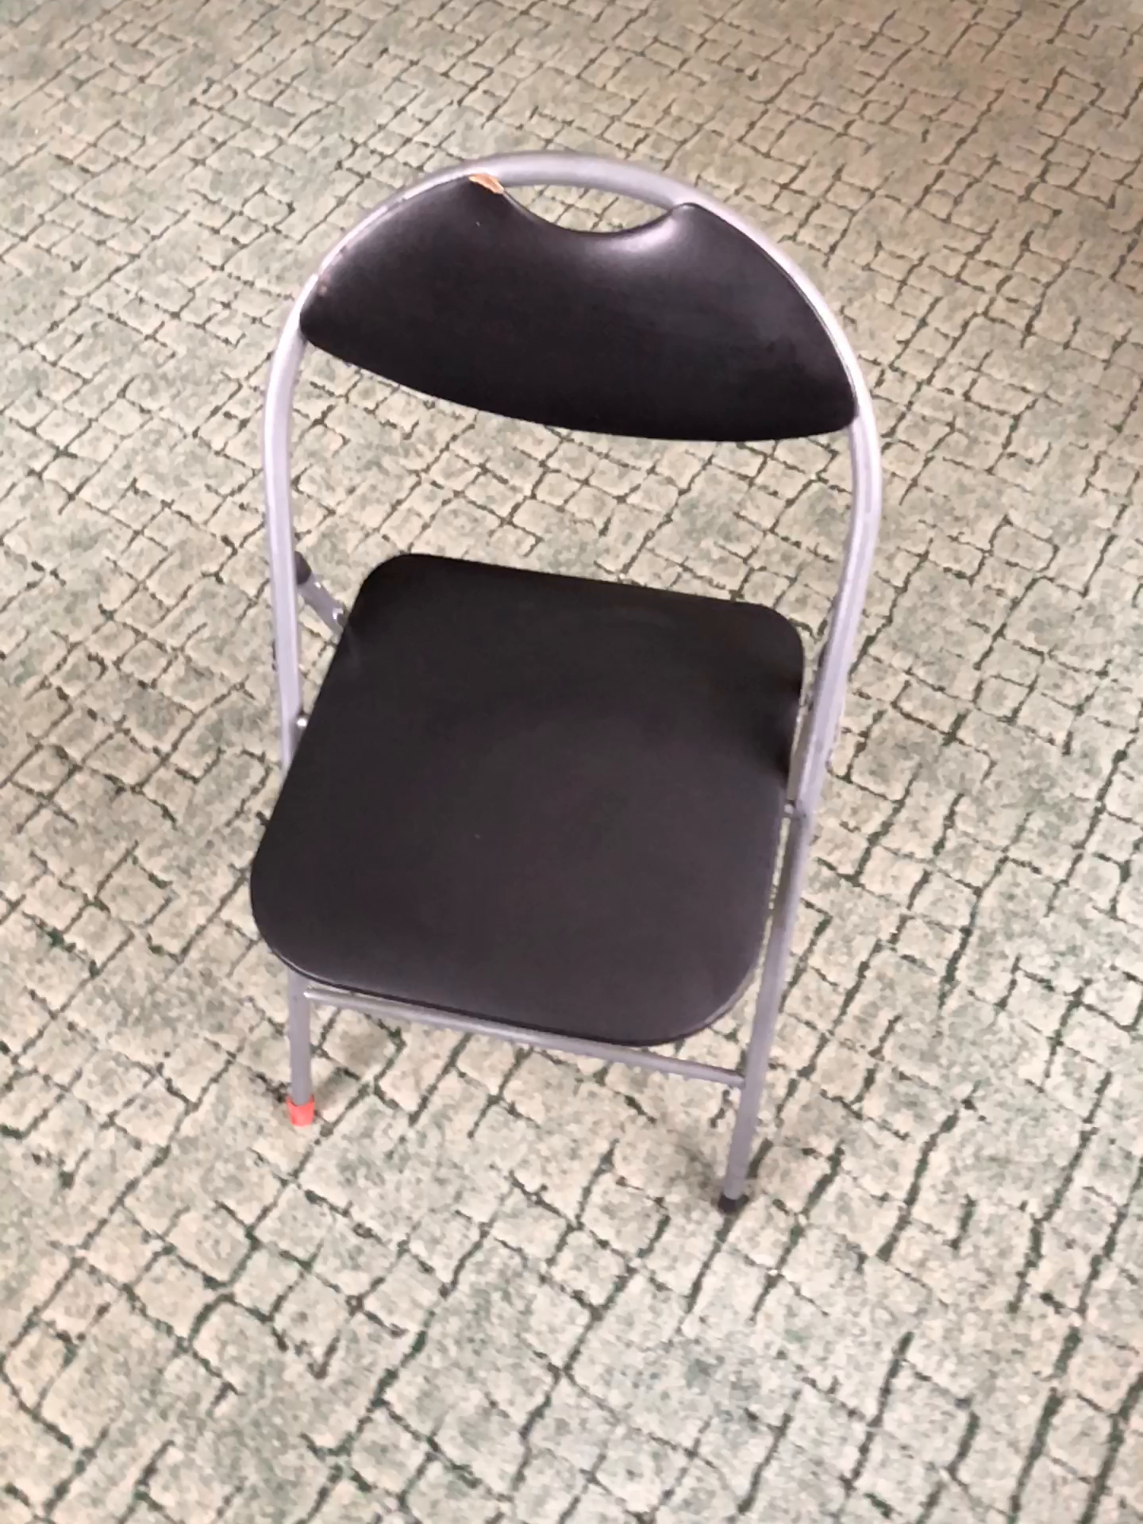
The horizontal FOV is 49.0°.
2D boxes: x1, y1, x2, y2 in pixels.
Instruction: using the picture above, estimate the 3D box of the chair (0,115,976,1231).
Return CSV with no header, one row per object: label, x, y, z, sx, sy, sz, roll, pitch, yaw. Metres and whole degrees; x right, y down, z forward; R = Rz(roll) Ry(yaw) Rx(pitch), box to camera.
chair,-0.022,0.006,0.986,0.456,0.733,0.477,10,60,7
